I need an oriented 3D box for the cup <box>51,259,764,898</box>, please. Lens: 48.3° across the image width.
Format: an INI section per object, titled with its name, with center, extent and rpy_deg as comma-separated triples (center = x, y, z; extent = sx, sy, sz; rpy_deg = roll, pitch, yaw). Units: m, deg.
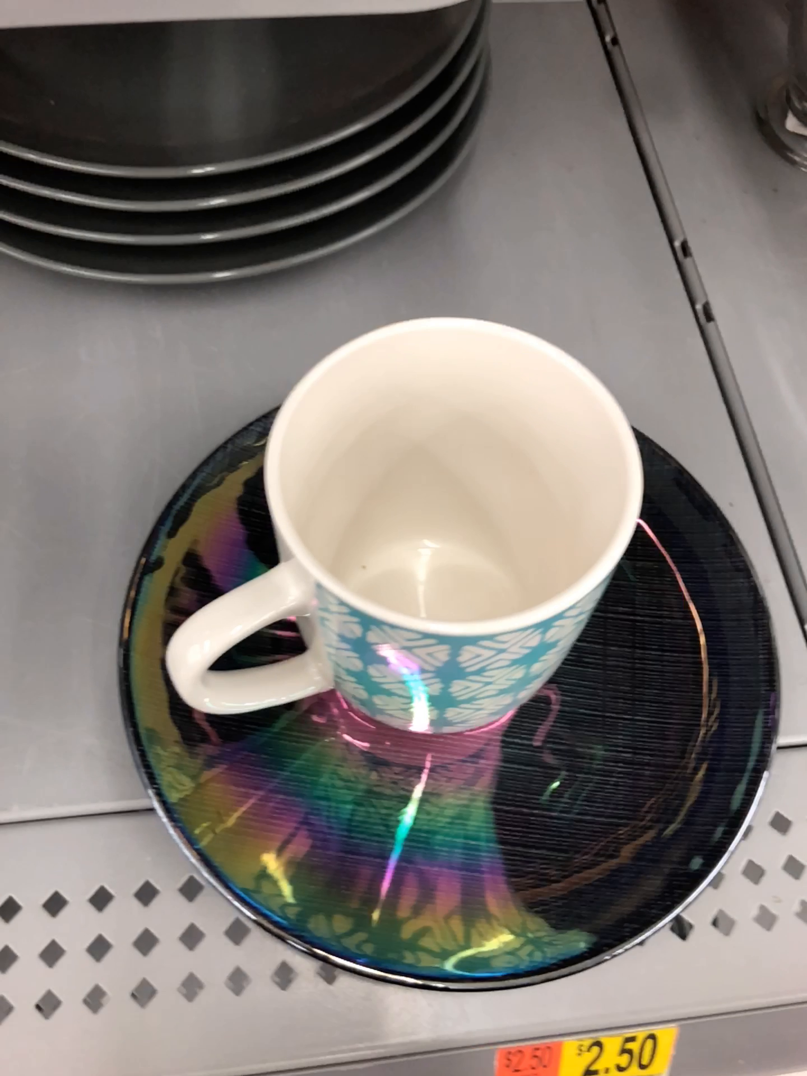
[cup]
center = -0.002, 0.014, 0.233
extent = 0.122, 0.098, 0.089
rpy_deg = -25, 66, -15
